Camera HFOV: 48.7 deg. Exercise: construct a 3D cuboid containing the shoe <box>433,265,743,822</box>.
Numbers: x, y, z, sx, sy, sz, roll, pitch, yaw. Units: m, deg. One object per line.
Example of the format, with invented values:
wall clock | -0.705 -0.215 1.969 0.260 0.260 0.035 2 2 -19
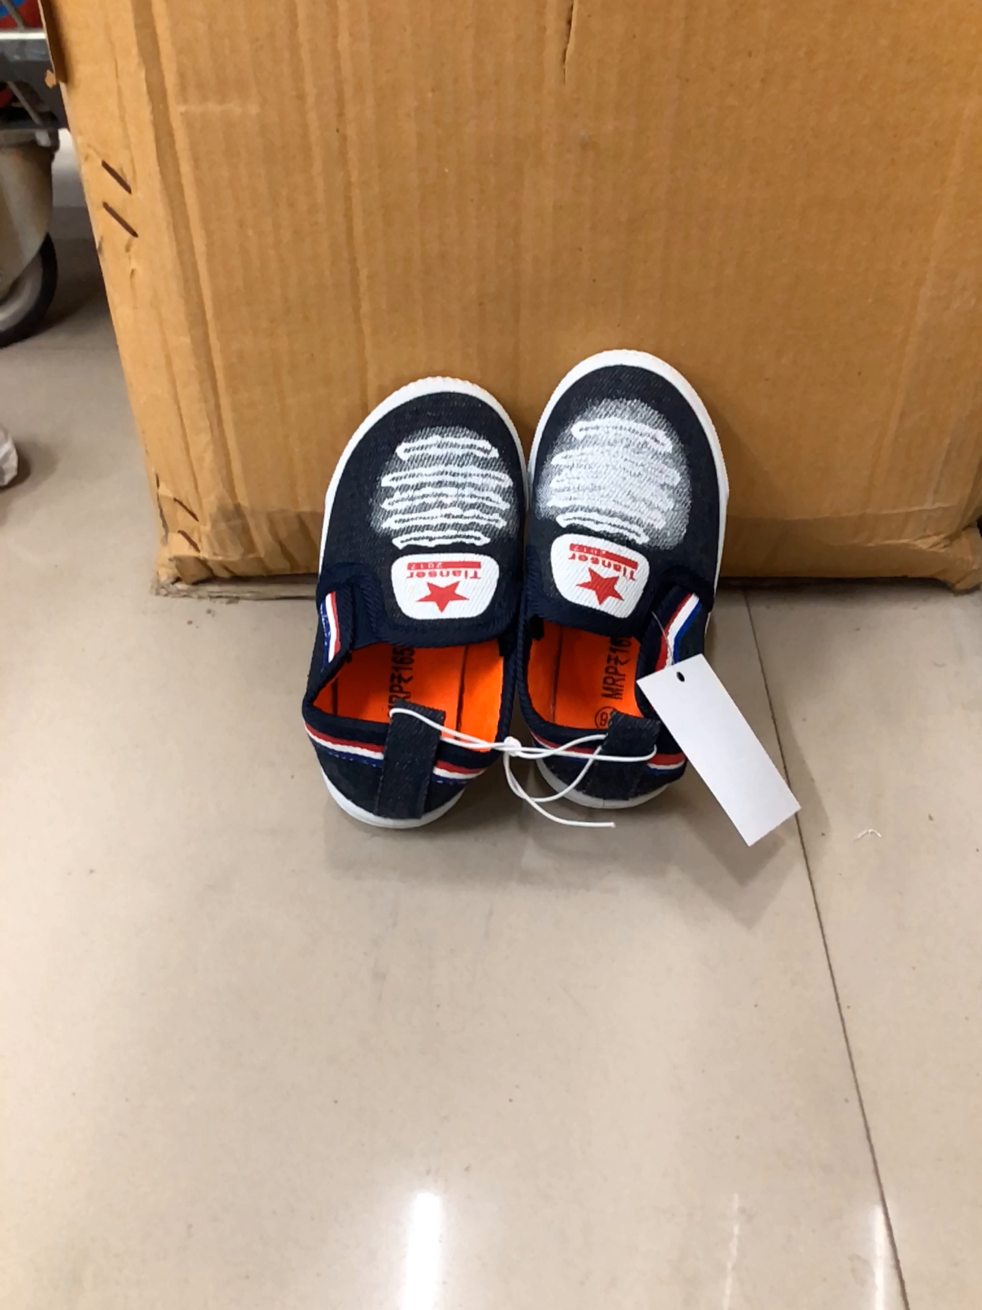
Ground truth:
shoe | 0.033 -0.036 0.363 0.080 0.160 0.080 5 4 7
